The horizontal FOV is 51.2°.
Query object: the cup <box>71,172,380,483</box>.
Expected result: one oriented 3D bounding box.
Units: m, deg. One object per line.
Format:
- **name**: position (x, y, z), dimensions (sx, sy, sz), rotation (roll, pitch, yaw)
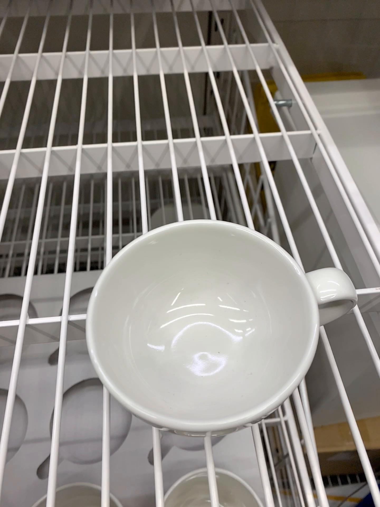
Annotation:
- **cup**: position (0.018, 0.021, 0.160), dimensions (0.116, 0.036, 0.097), rotation (-10, 54, -9)
